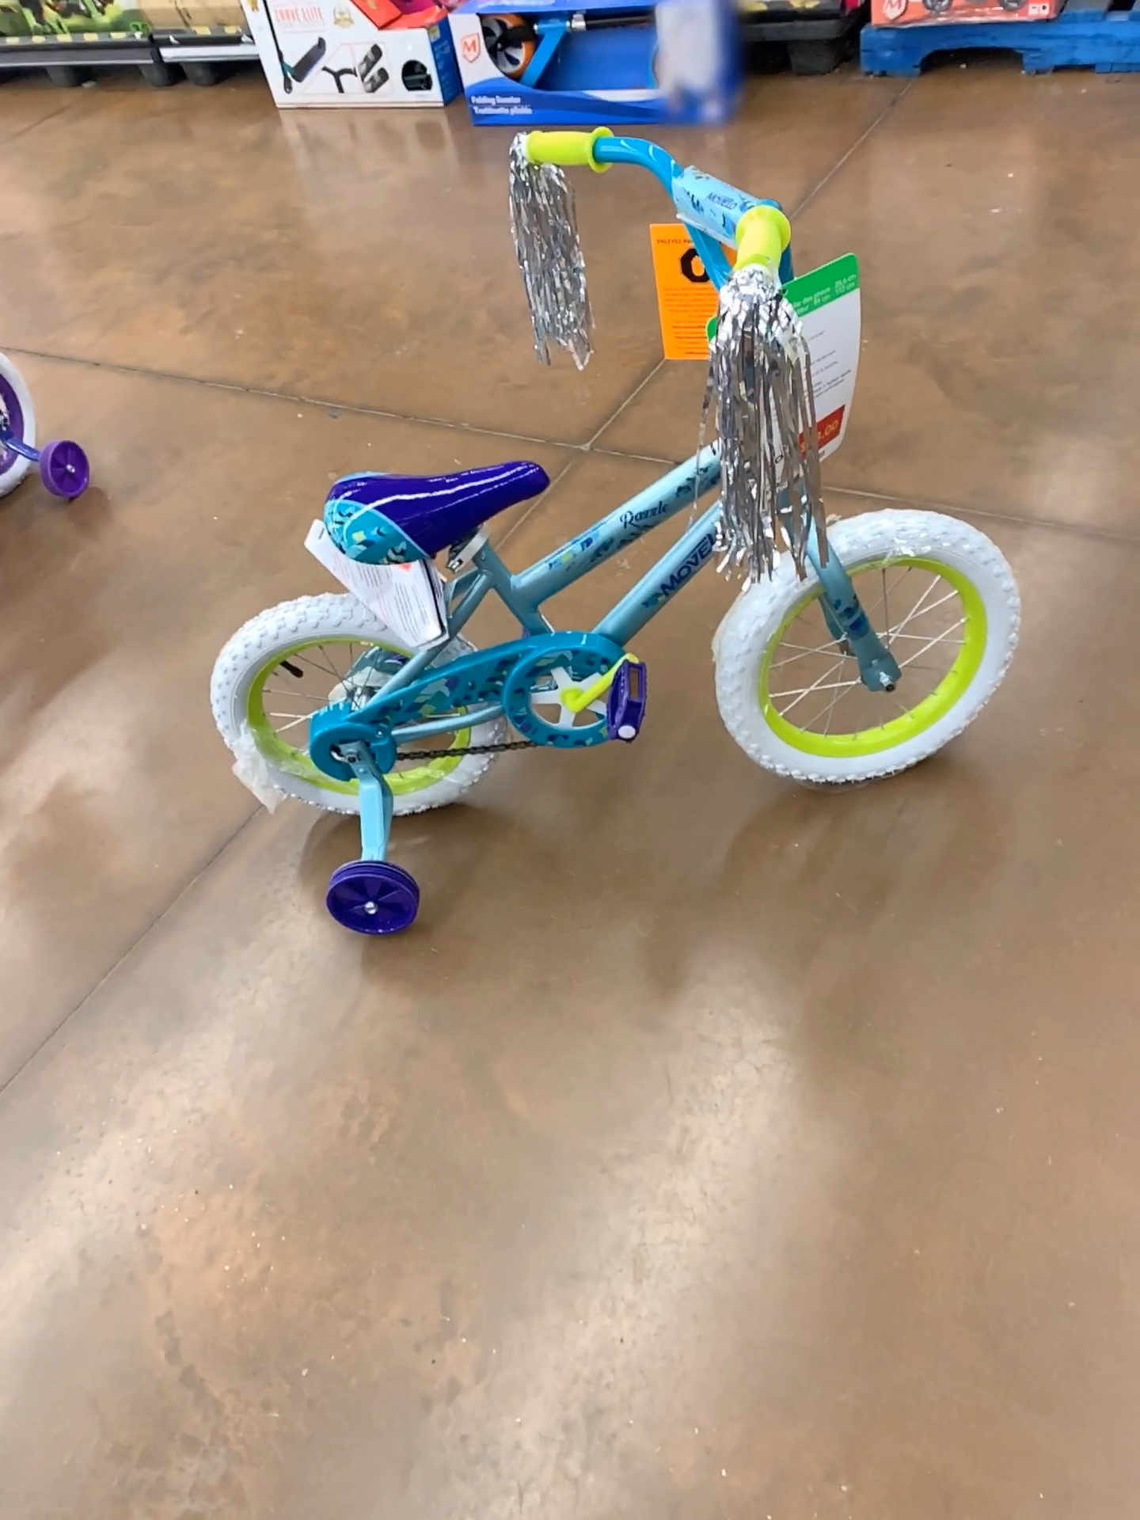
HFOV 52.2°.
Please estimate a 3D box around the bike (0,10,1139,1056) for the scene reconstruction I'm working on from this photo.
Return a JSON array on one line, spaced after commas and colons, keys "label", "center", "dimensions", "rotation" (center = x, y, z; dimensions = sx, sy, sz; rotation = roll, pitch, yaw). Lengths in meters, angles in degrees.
[{"label": "bike", "center": [0.007, -0.210, 1.143], "dimensions": [0.859, 0.638, 0.626], "rotation": [-10, 45, 3]}]
